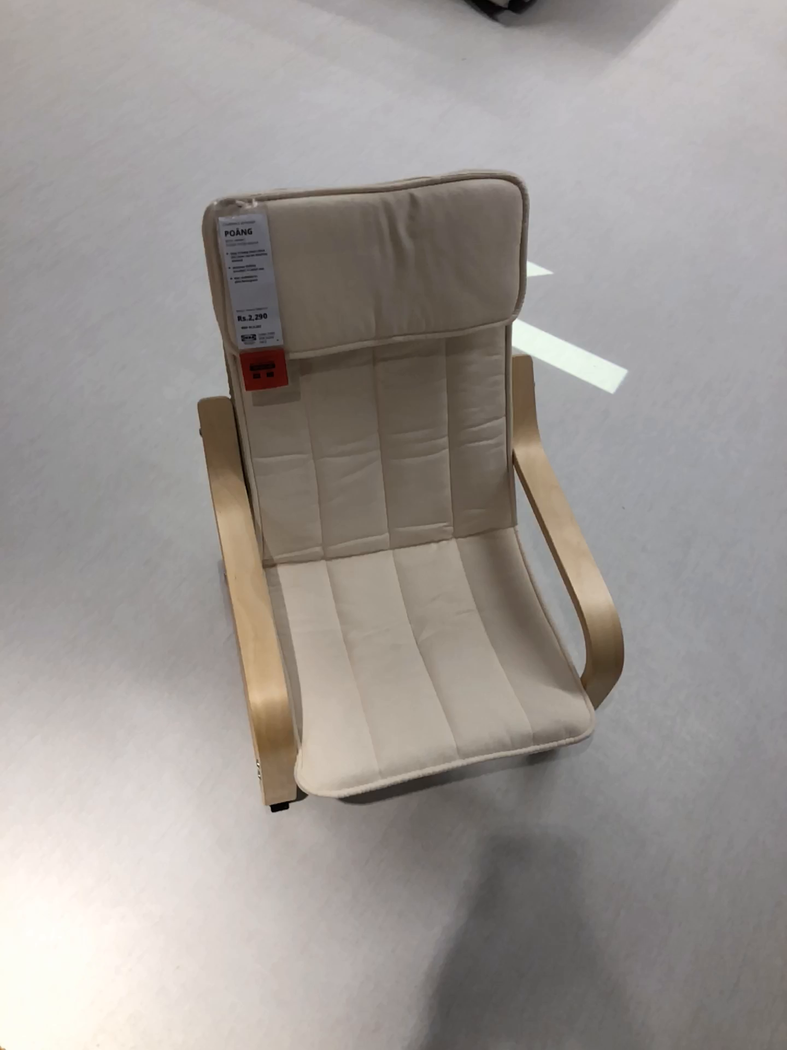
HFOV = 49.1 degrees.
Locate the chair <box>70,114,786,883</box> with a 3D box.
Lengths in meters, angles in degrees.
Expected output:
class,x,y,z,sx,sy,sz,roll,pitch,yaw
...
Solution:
class,x,y,z,sx,sy,sz,roll,pitch,yaw
chair,-0.014,0.033,1.175,0.560,0.836,0.582,-12,59,-10
